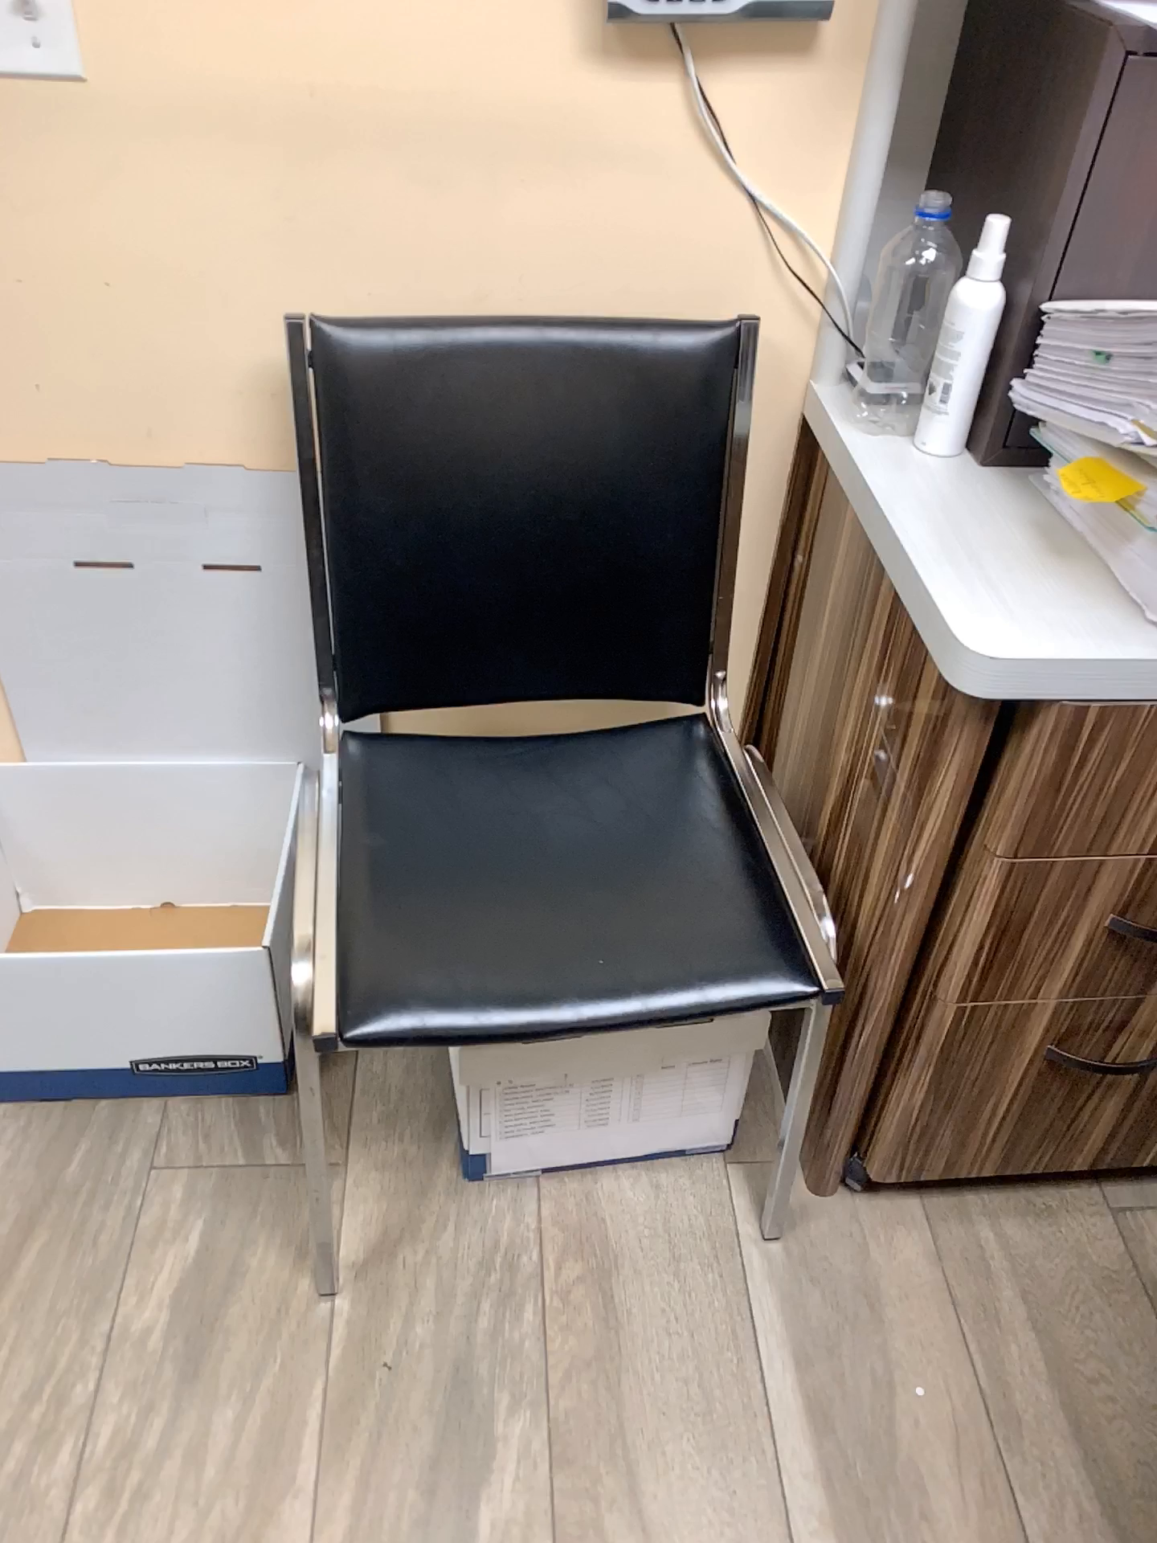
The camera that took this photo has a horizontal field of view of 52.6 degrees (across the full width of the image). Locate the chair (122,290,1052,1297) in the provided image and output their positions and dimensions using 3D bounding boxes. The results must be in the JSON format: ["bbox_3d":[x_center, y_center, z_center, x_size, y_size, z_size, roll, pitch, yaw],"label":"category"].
[{"bbox_3d":[-0.040,0.037,1.152,0.554,0.812,0.531,-4,42,-8],"label":"chair"}]
